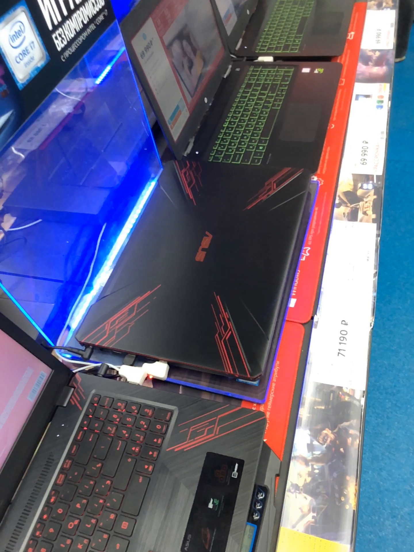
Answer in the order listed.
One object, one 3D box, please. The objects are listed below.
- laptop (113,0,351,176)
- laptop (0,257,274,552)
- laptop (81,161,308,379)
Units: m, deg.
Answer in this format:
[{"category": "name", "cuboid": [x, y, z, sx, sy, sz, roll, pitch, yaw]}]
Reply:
[{"category": "laptop", "cuboid": [0.077, -0.410, 0.826, 0.292, 0.242, 0.375, 8, 54, 16]}, {"category": "laptop", "cuboid": [-0.149, 0.220, 0.352, 0.318, 0.231, 0.392, 6, 54, 16]}, {"category": "laptop", "cuboid": [-0.002, -0.041, 0.683, 0.243, 0.006, 0.374, 8, 55, 16]}]
